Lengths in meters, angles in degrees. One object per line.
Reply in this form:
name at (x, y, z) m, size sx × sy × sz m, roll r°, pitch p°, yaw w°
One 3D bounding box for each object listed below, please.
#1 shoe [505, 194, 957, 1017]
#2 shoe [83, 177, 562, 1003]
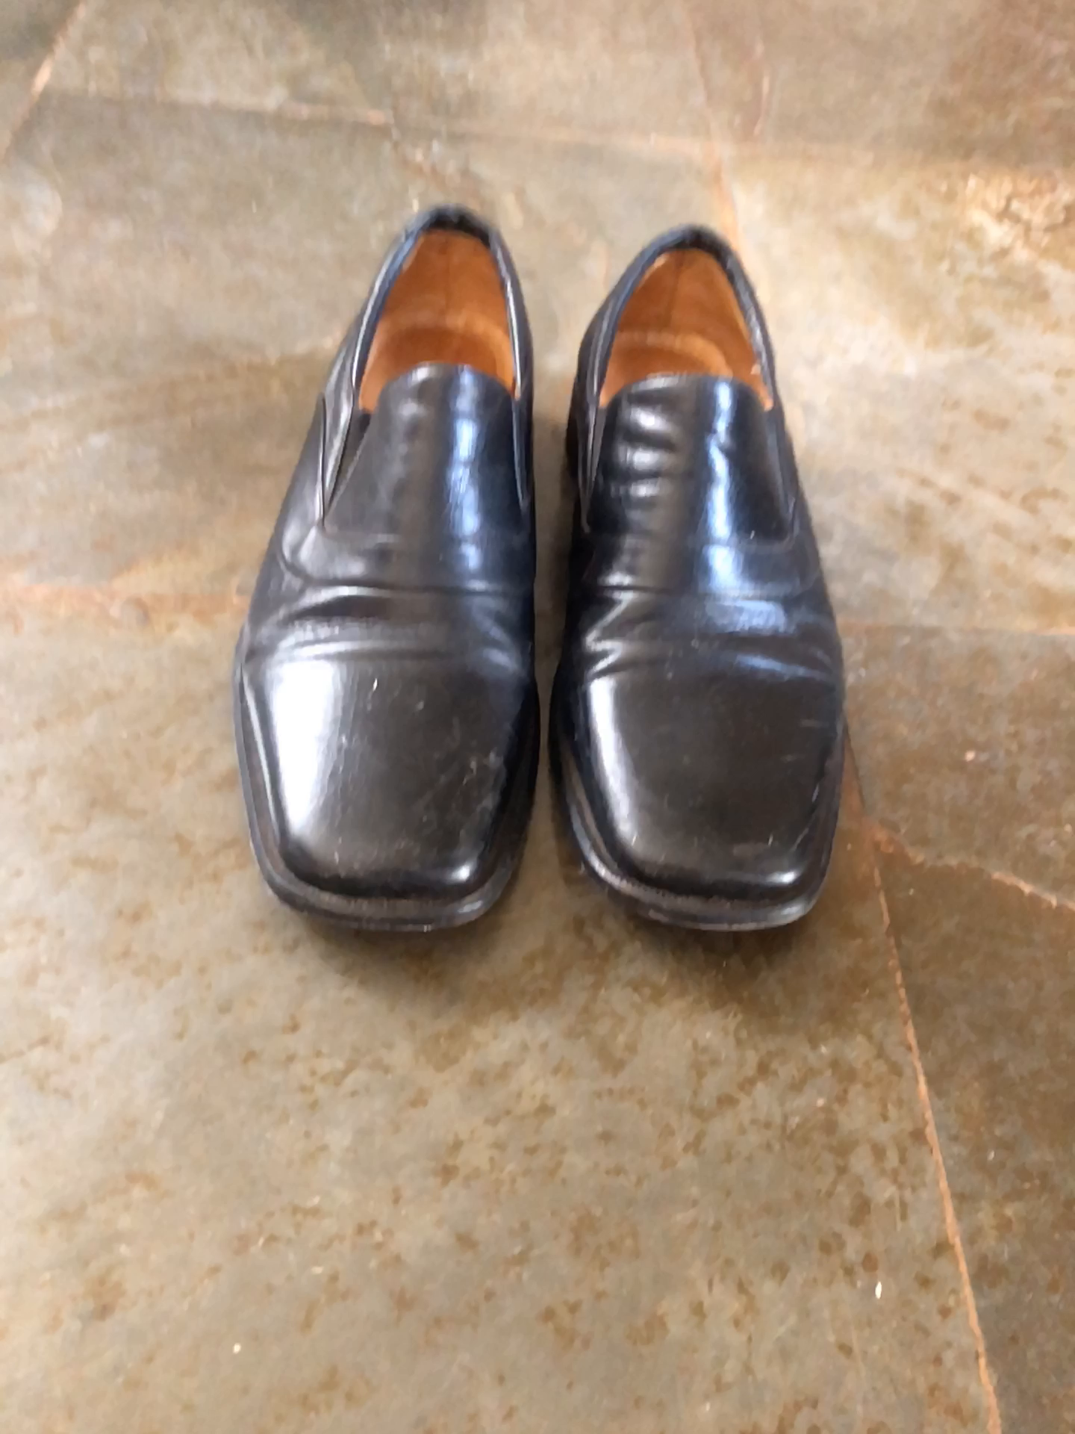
shoe at (0.047, -0.054, 0.410) m, size 0.100 × 0.109 × 0.282 m, roll 4°, pitch 50°, yaw -3°
shoe at (-0.053, -0.059, 0.407) m, size 0.110 × 0.109 × 0.282 m, roll 3°, pitch 50°, yaw -3°
